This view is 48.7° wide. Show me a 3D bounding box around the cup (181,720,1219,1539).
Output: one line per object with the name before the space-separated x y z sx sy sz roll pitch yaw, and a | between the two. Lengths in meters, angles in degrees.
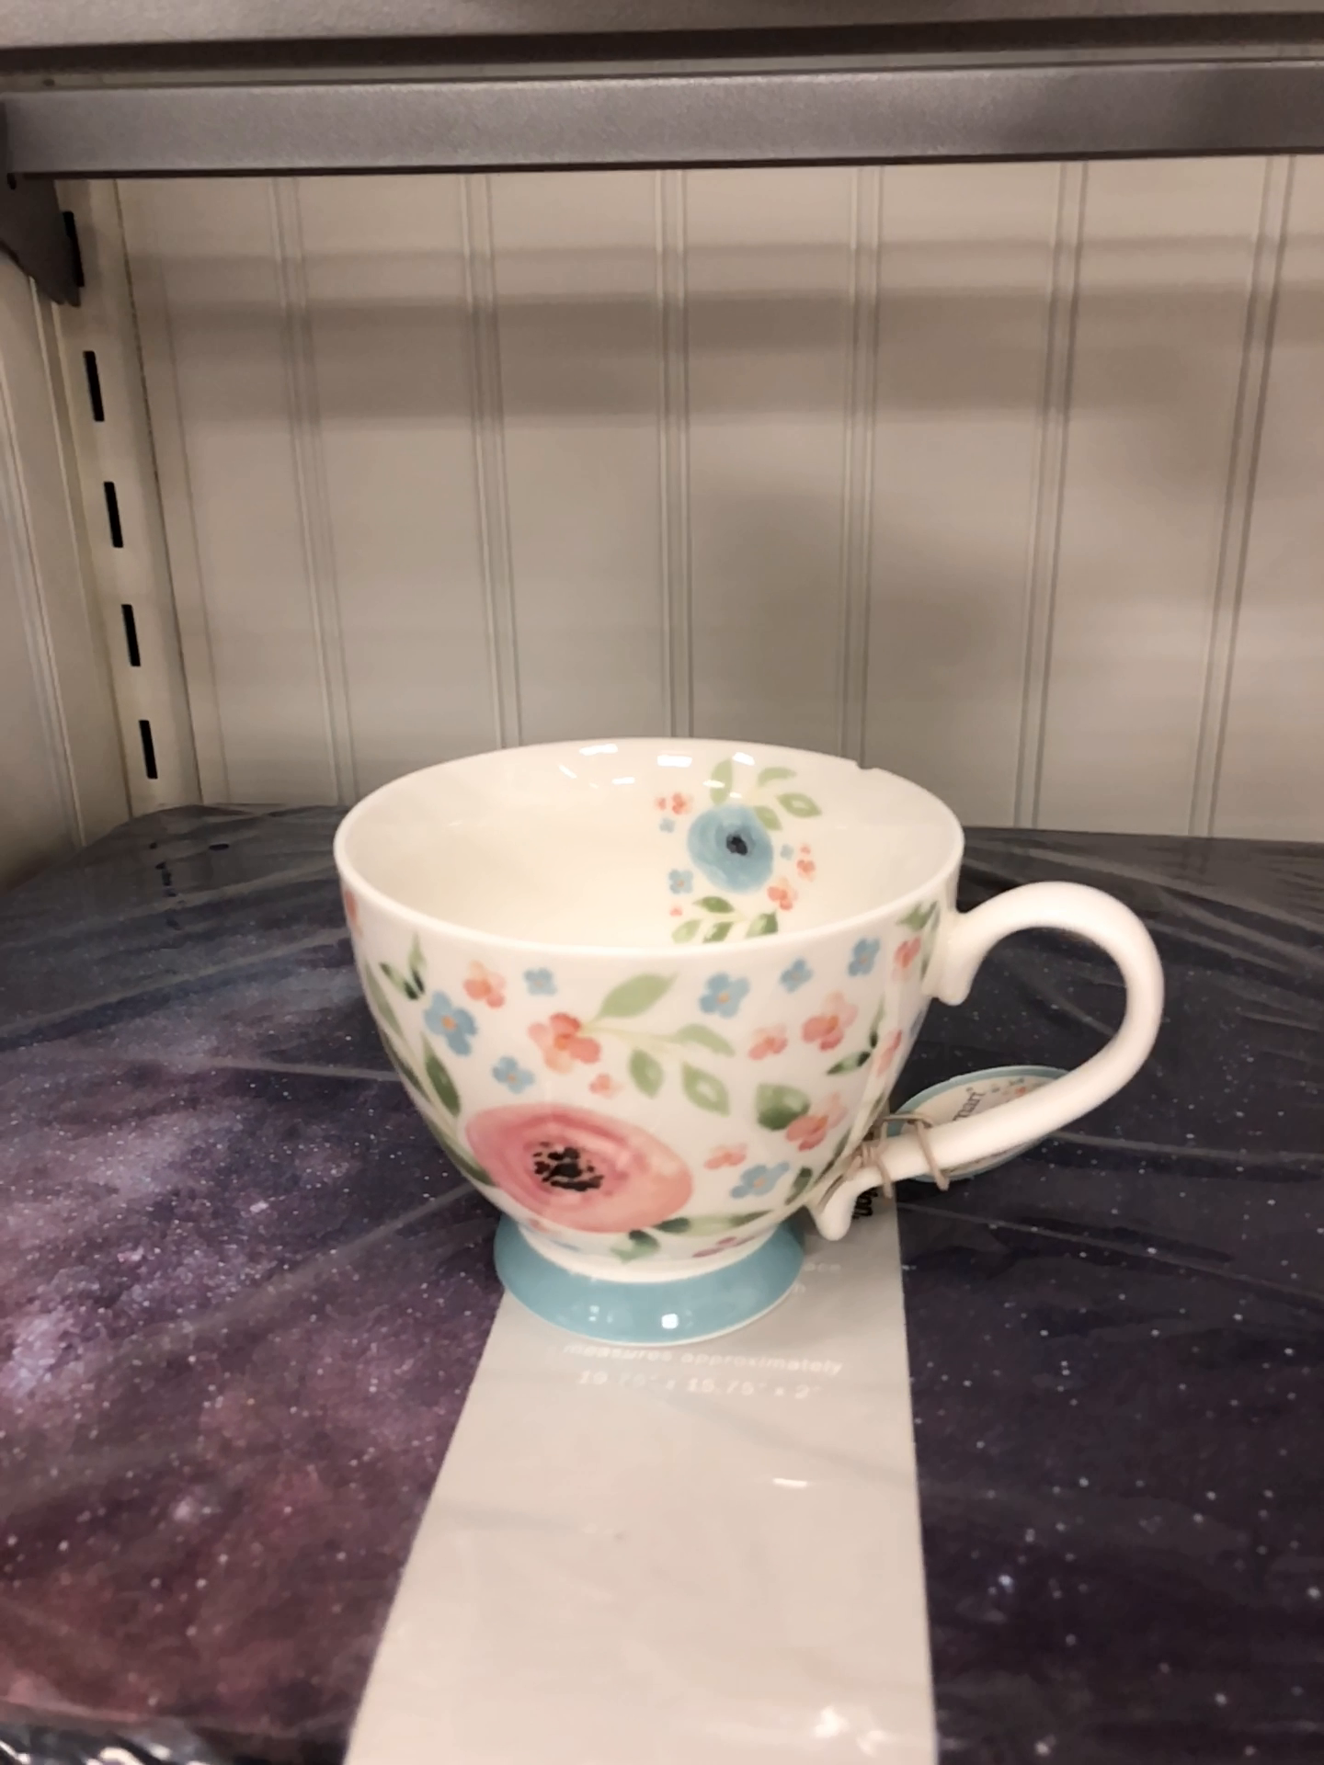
cup | 0.015 0.029 0.265 0.150 0.079 0.111 6 23 17
